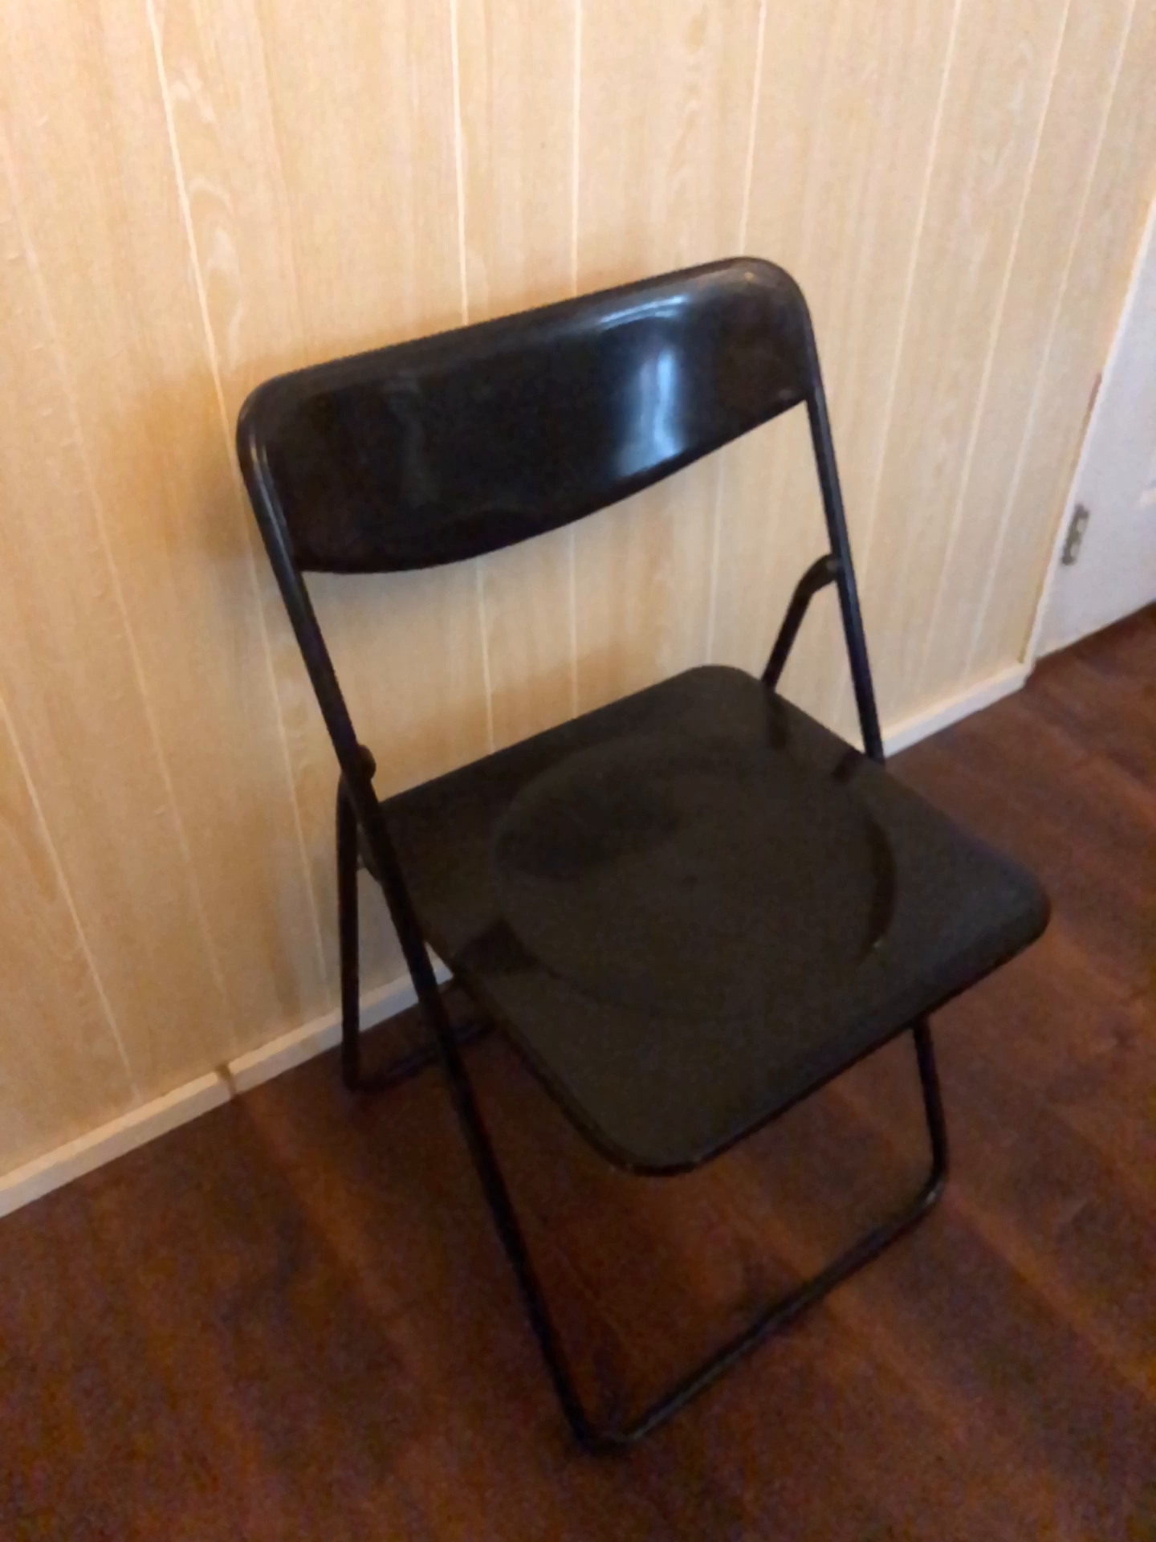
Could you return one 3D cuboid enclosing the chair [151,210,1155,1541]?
[{"bbox_3d":[0.087,0.056,0.904,0.491,0.665,0.472,-25,47,-27],"label":"chair"}]
